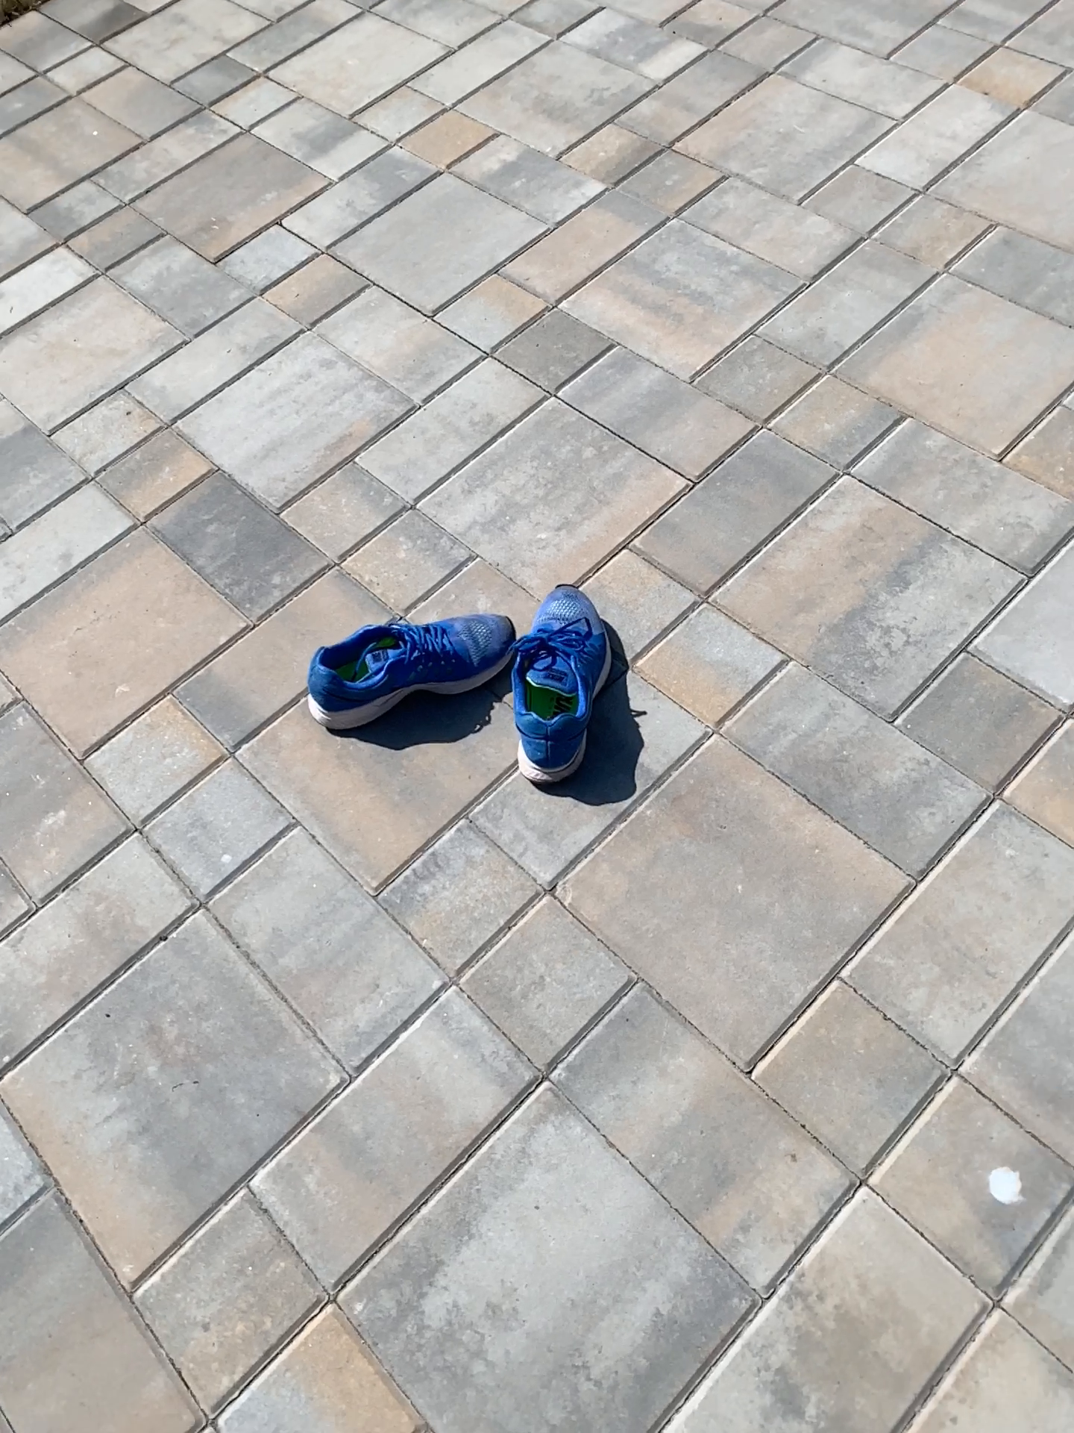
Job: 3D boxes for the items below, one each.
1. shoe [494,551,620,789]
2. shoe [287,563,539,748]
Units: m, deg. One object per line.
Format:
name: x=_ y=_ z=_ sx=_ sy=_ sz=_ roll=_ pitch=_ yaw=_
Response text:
shoe: x=0.030 y=-0.060 z=1.325 sx=0.120 sy=0.110 sz=0.271 roll=2 pitch=59 yaw=8
shoe: x=-0.153 y=-0.077 z=1.359 sx=0.280 sy=0.080 sz=0.120 roll=-20 pitch=58 yaw=-6
